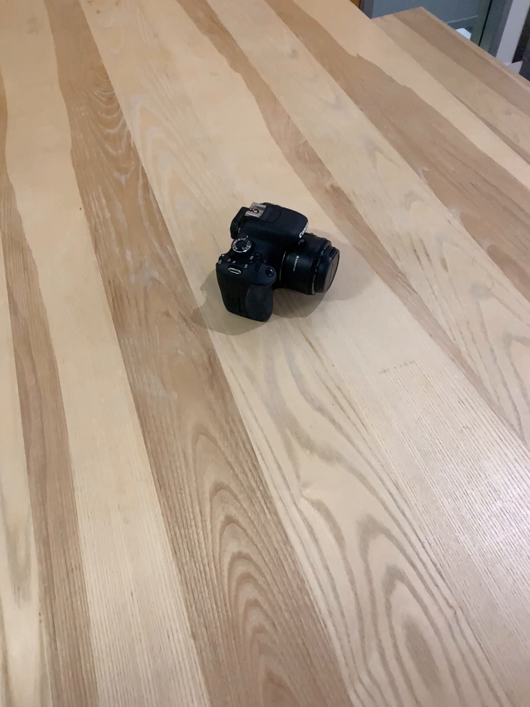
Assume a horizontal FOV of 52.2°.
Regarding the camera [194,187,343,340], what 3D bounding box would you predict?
[{"bbox_3d":[0.007,-0.109,0.640,0.127,0.089,0.127,19,57,15],"label":"camera"}]
